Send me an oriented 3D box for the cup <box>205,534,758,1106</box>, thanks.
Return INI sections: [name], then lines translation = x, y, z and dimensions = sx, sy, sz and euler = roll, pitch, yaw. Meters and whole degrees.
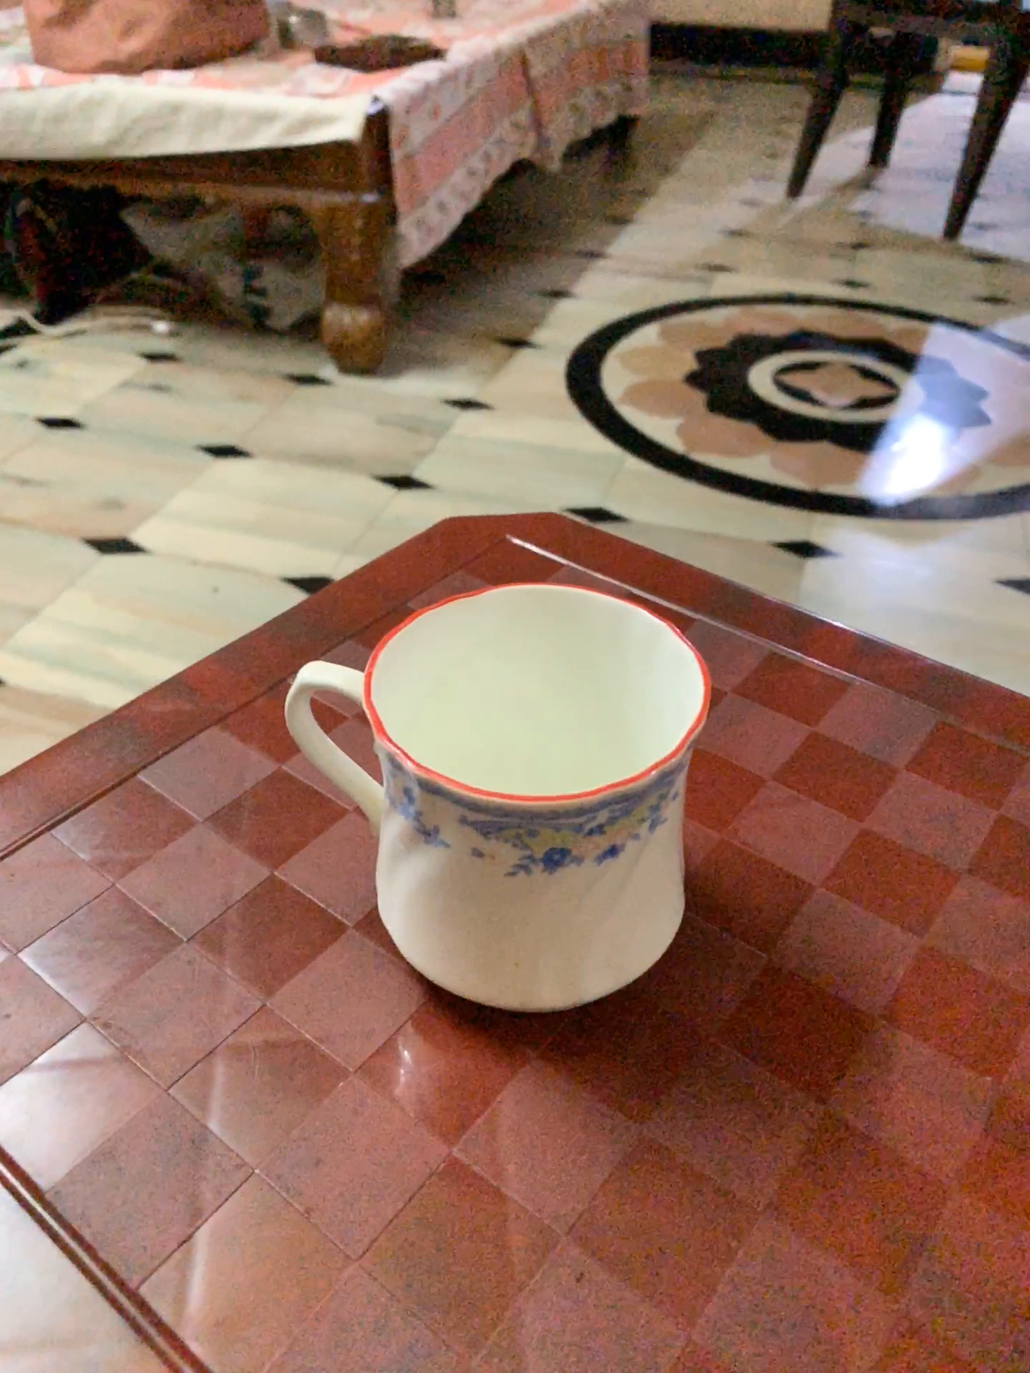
[cup]
translation = -0.003, 0.026, 0.233
dimensions = 0.090, 0.080, 0.070
euler = 11, 39, 13
